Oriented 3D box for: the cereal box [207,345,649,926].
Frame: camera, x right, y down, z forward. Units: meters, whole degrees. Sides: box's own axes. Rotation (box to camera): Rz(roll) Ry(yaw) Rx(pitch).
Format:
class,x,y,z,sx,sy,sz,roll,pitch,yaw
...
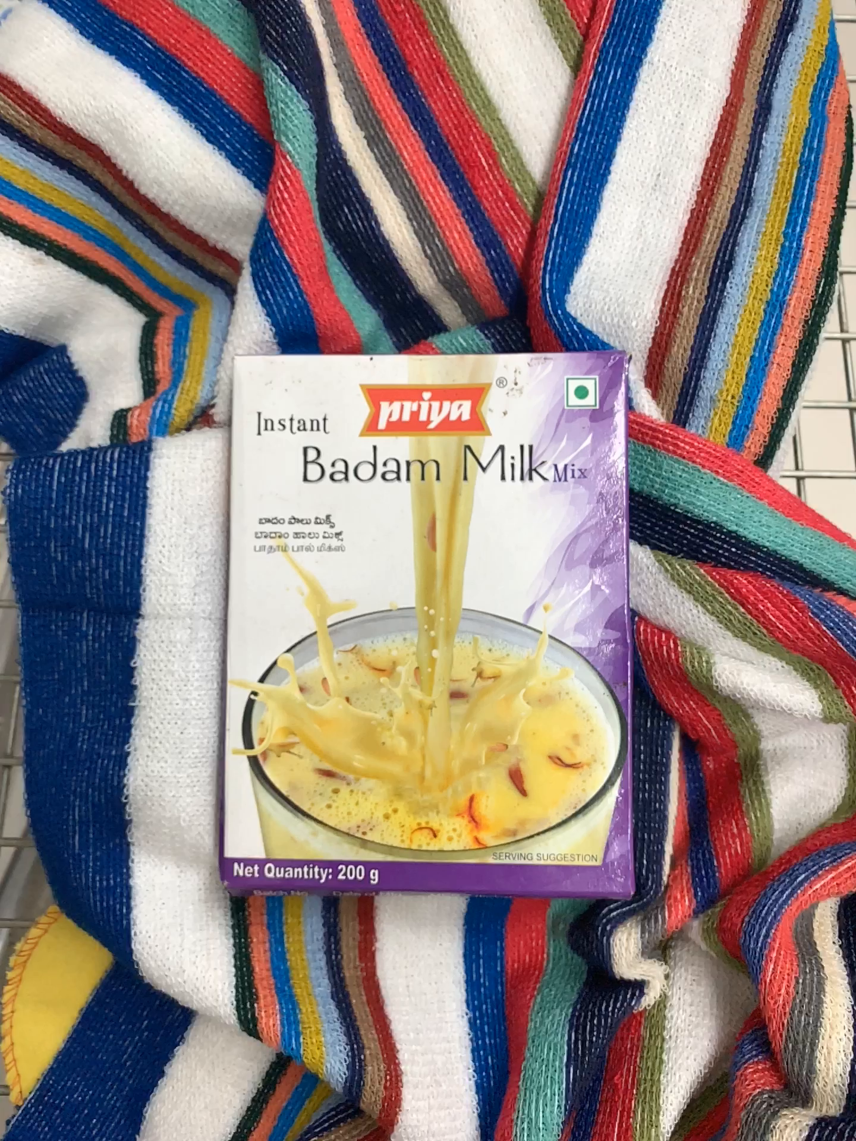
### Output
class,x,y,z,sx,sy,sz,roll,pitch,yaw
cereal box,0.001,0.017,0.263,0.120,0.030,0.160,1,86,0
